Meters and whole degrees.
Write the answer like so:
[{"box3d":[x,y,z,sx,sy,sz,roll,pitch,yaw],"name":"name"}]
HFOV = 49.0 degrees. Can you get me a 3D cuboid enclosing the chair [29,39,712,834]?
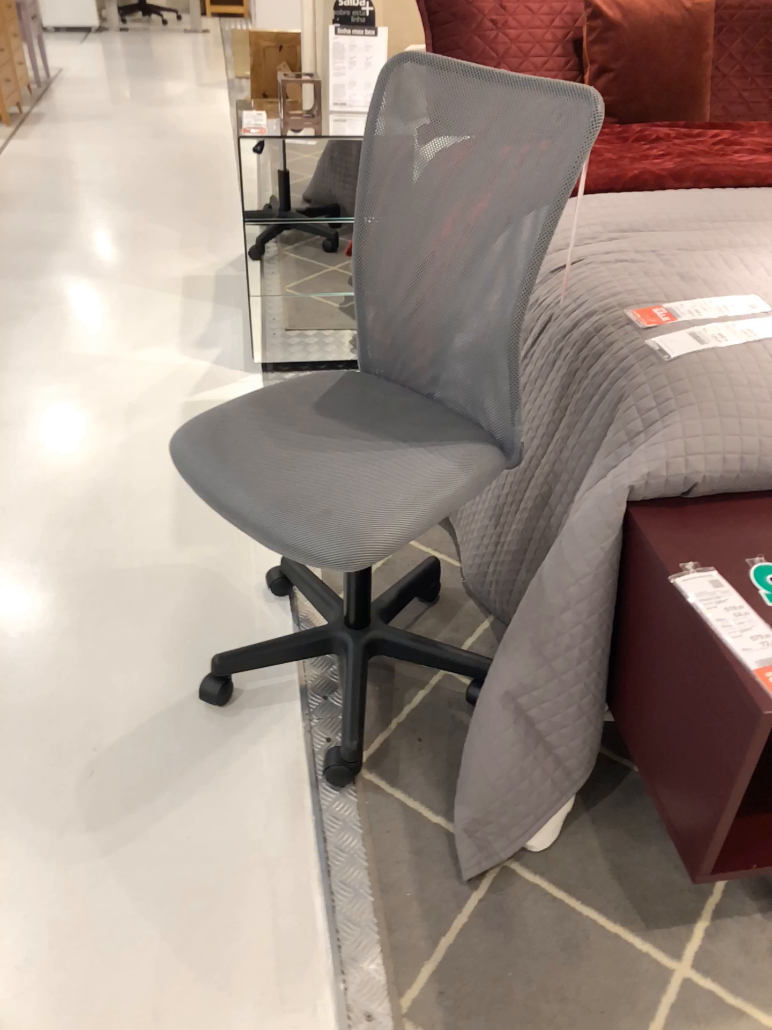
[{"box3d":[-0.038,-0.154,1.325,0.642,0.942,0.563,-23,43,-30],"name":"chair"}]
